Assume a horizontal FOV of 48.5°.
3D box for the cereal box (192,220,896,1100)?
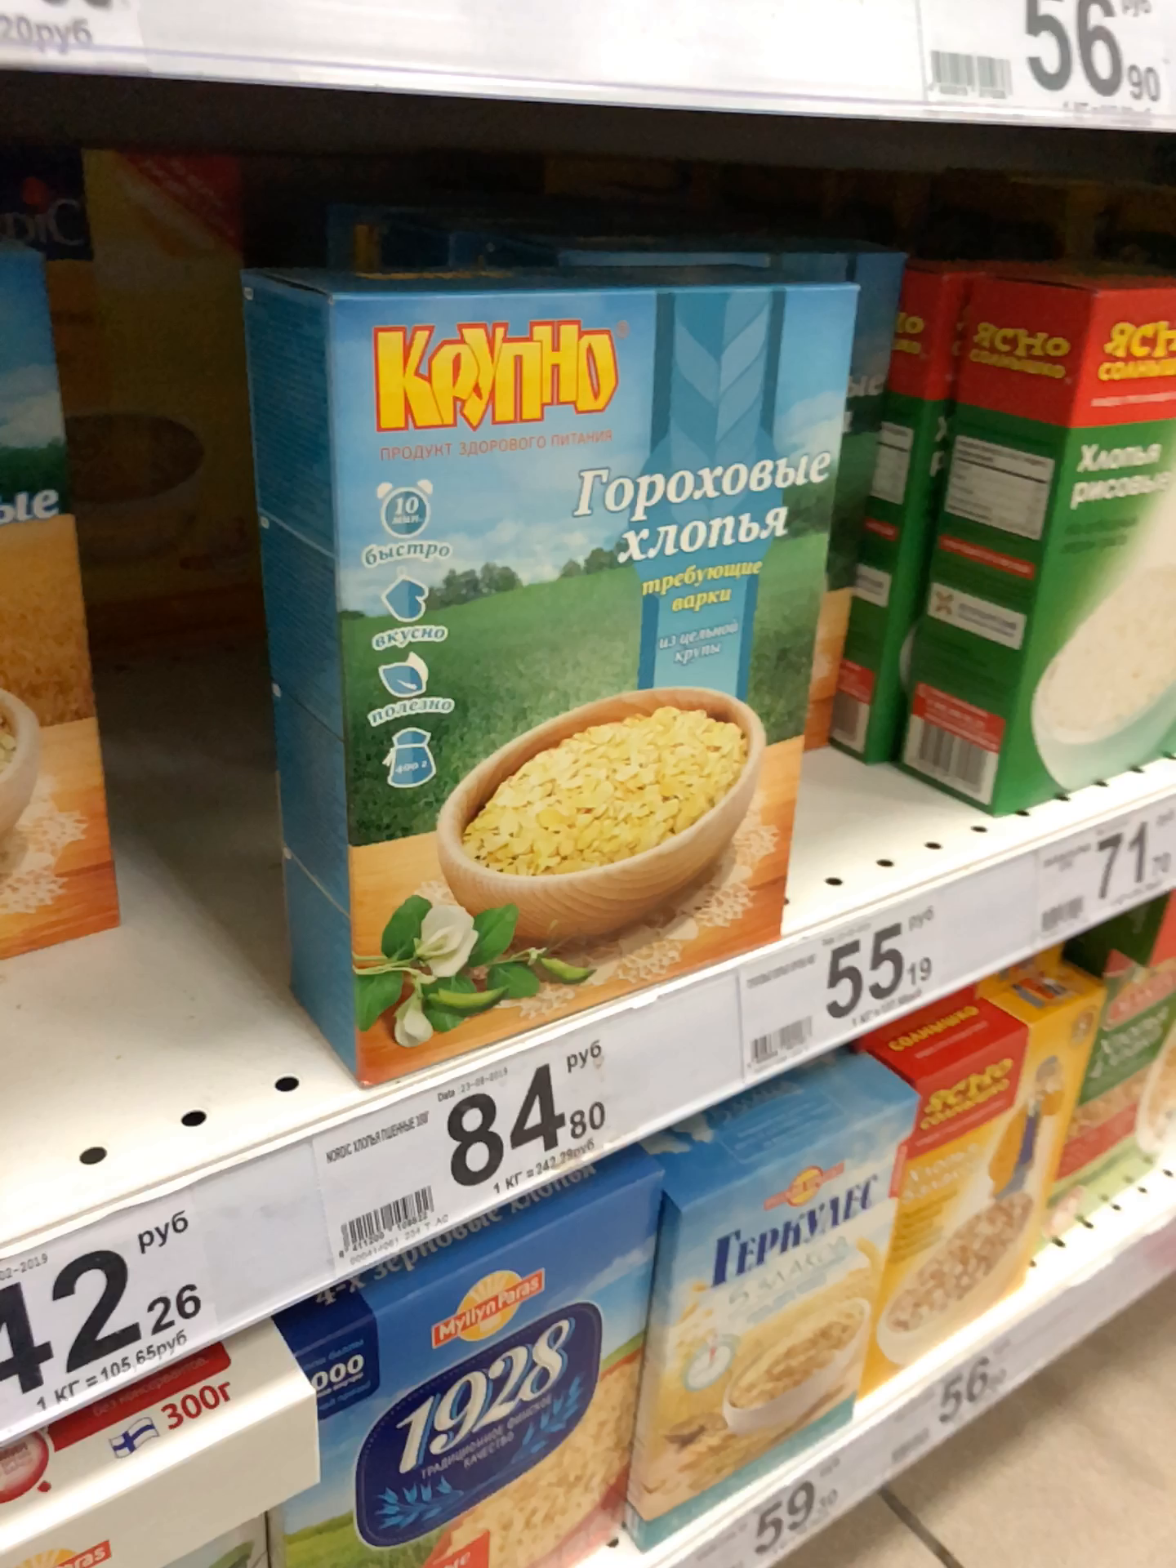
[{"bbox_3d":[-0.008,-0.038,0.343,0.160,0.199,0.050,-14,30,-31],"label":"cereal box"}]
